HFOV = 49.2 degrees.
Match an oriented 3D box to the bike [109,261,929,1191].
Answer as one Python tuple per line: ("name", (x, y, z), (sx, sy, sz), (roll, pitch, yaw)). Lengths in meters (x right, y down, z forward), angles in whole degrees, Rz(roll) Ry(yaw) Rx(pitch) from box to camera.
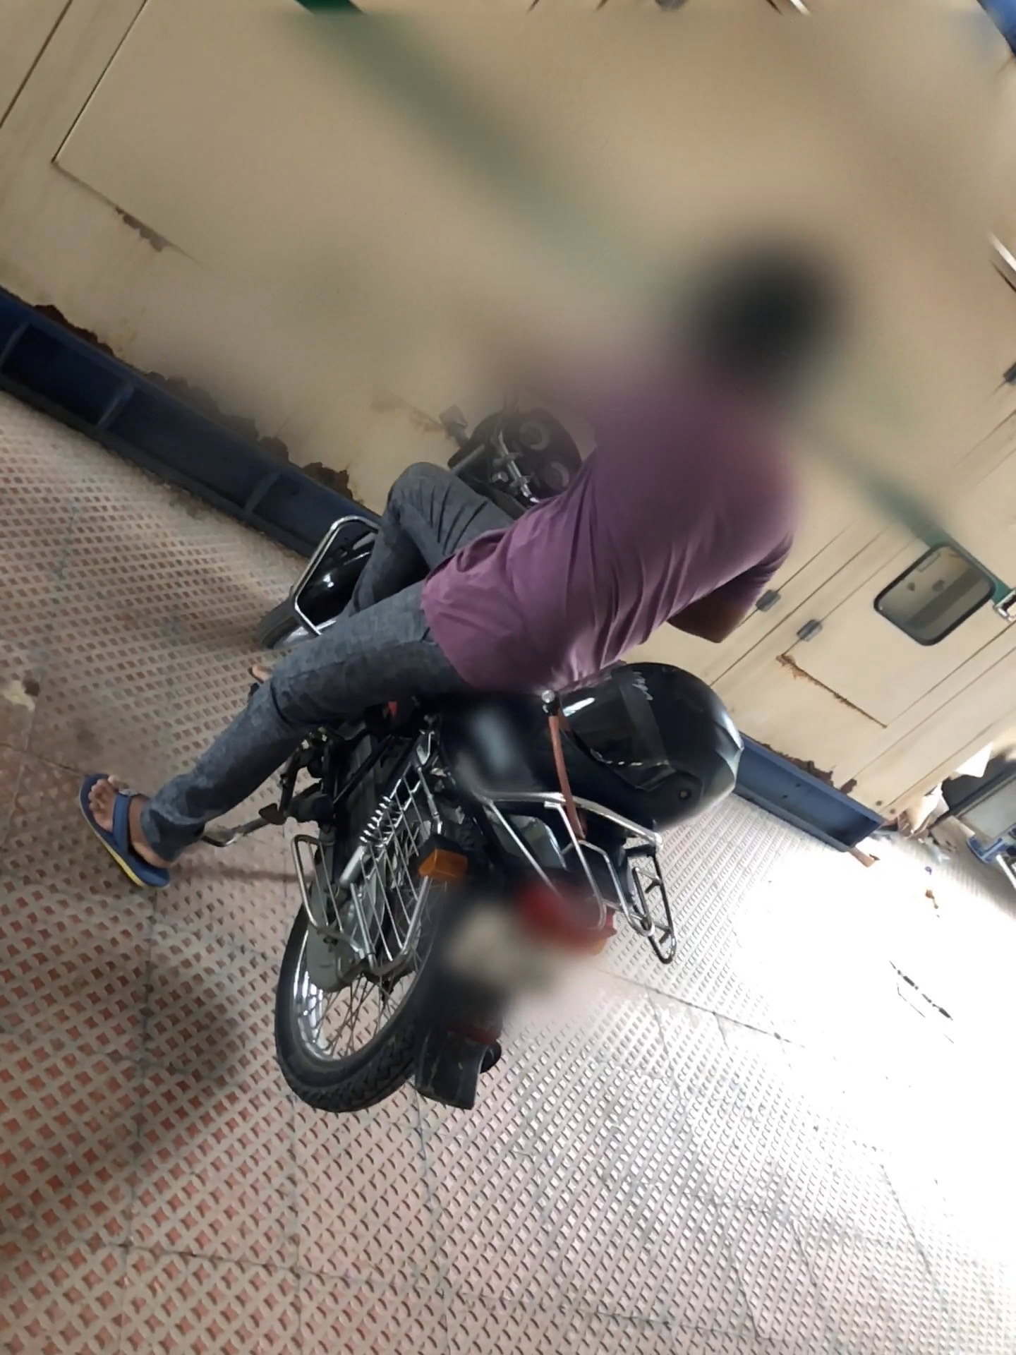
("bike", (0.016, -0.006, 2.292), (0.814, 0.928, 1.603), (34, 28, -25))
